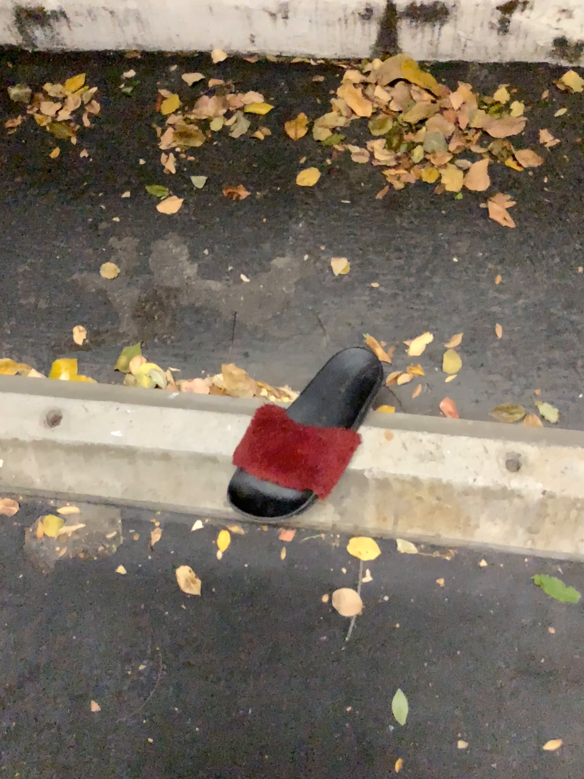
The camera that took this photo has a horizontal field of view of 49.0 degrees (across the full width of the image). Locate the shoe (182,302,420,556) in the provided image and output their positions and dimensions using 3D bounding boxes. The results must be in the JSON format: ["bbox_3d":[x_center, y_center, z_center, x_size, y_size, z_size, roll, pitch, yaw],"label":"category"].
[{"bbox_3d":[0.017,0.039,0.770,0.140,0.050,0.280,32,70,19],"label":"shoe"}]
